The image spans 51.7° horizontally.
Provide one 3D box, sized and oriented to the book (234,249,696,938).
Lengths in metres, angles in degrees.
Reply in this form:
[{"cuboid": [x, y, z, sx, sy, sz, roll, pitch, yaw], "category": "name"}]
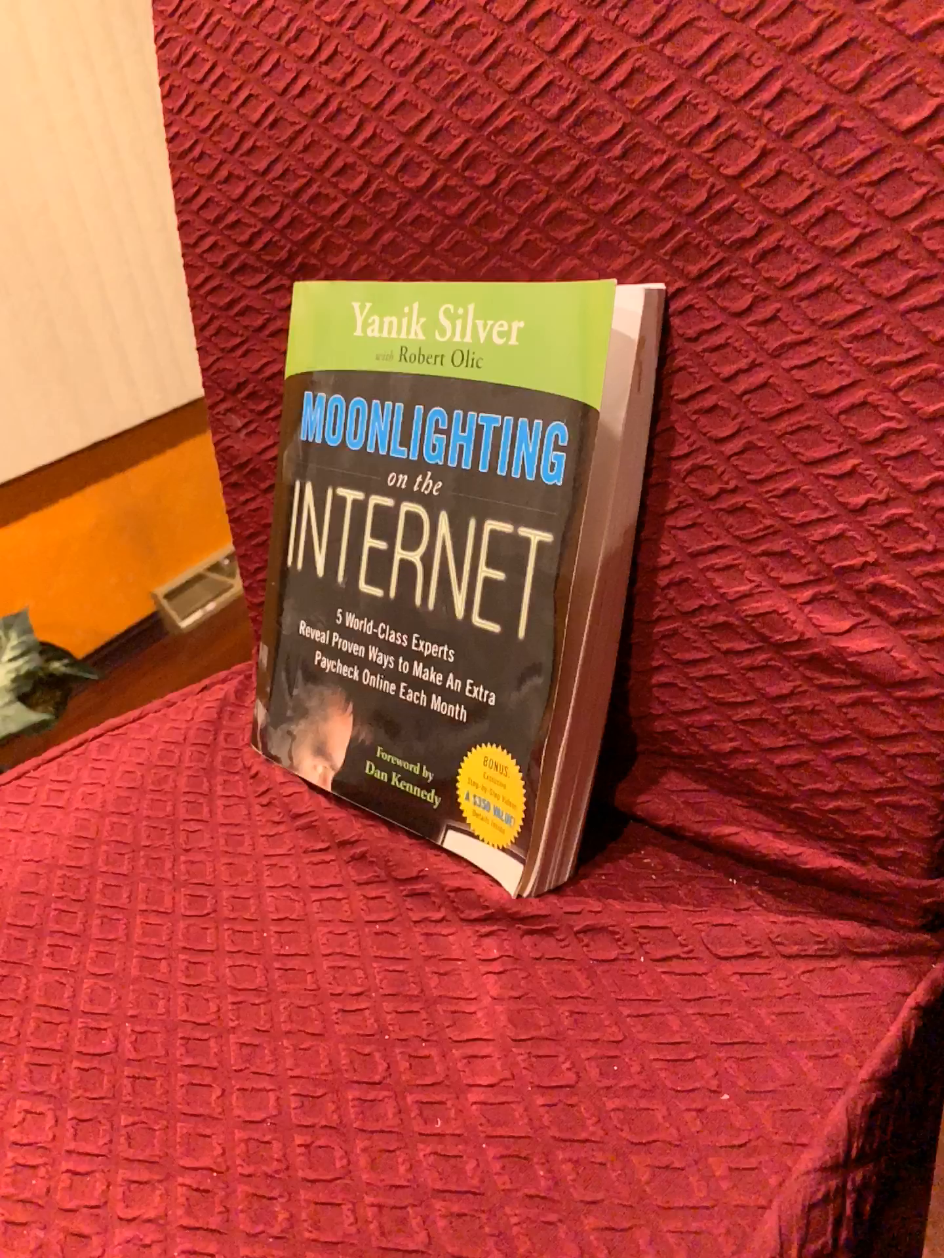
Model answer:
[{"cuboid": [-0.021, -0.028, 0.414, 0.201, 0.239, 0.040, 17, 15, 42], "category": "book"}]
